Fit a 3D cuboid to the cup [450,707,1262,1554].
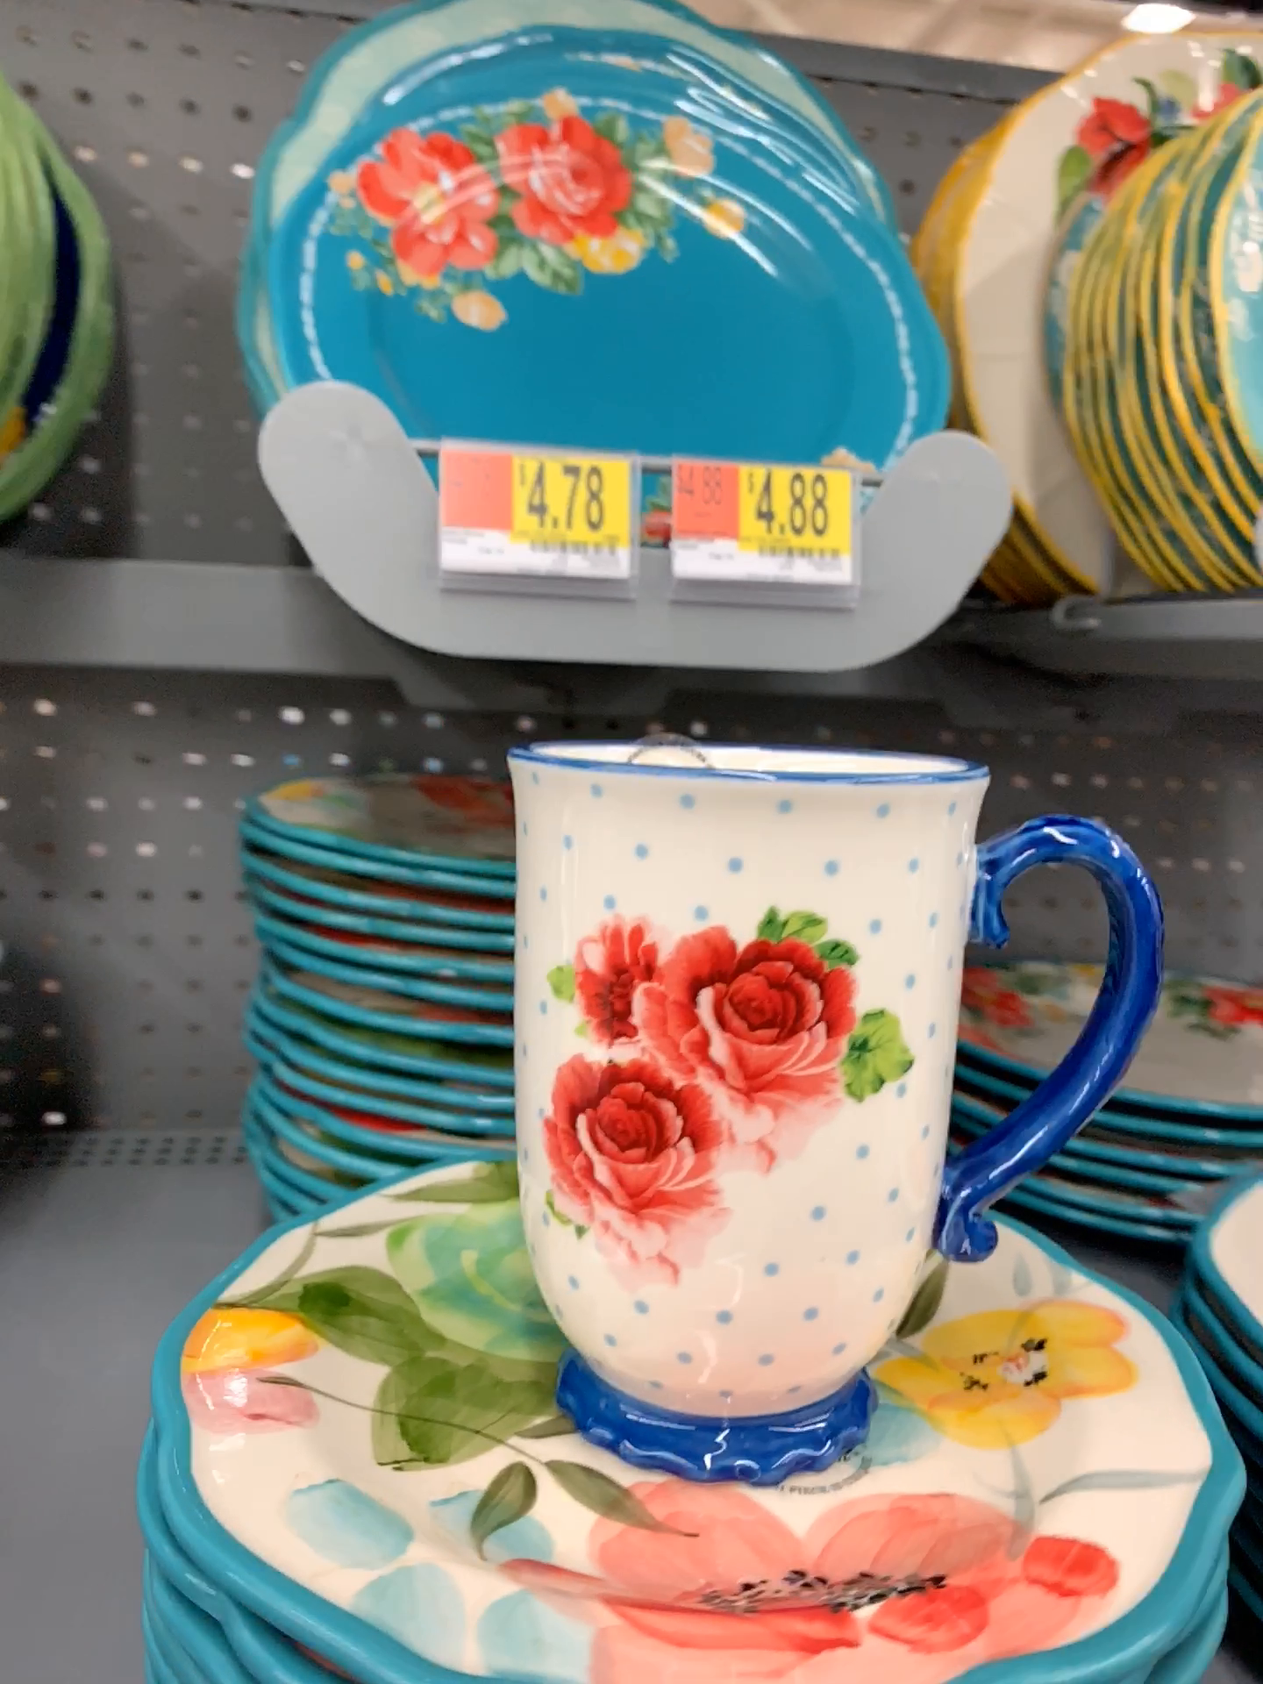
[{"bbox_3d":[0.038,0.044,0.255,0.130,0.130,0.090,3,8,1],"label":"cup"}]
